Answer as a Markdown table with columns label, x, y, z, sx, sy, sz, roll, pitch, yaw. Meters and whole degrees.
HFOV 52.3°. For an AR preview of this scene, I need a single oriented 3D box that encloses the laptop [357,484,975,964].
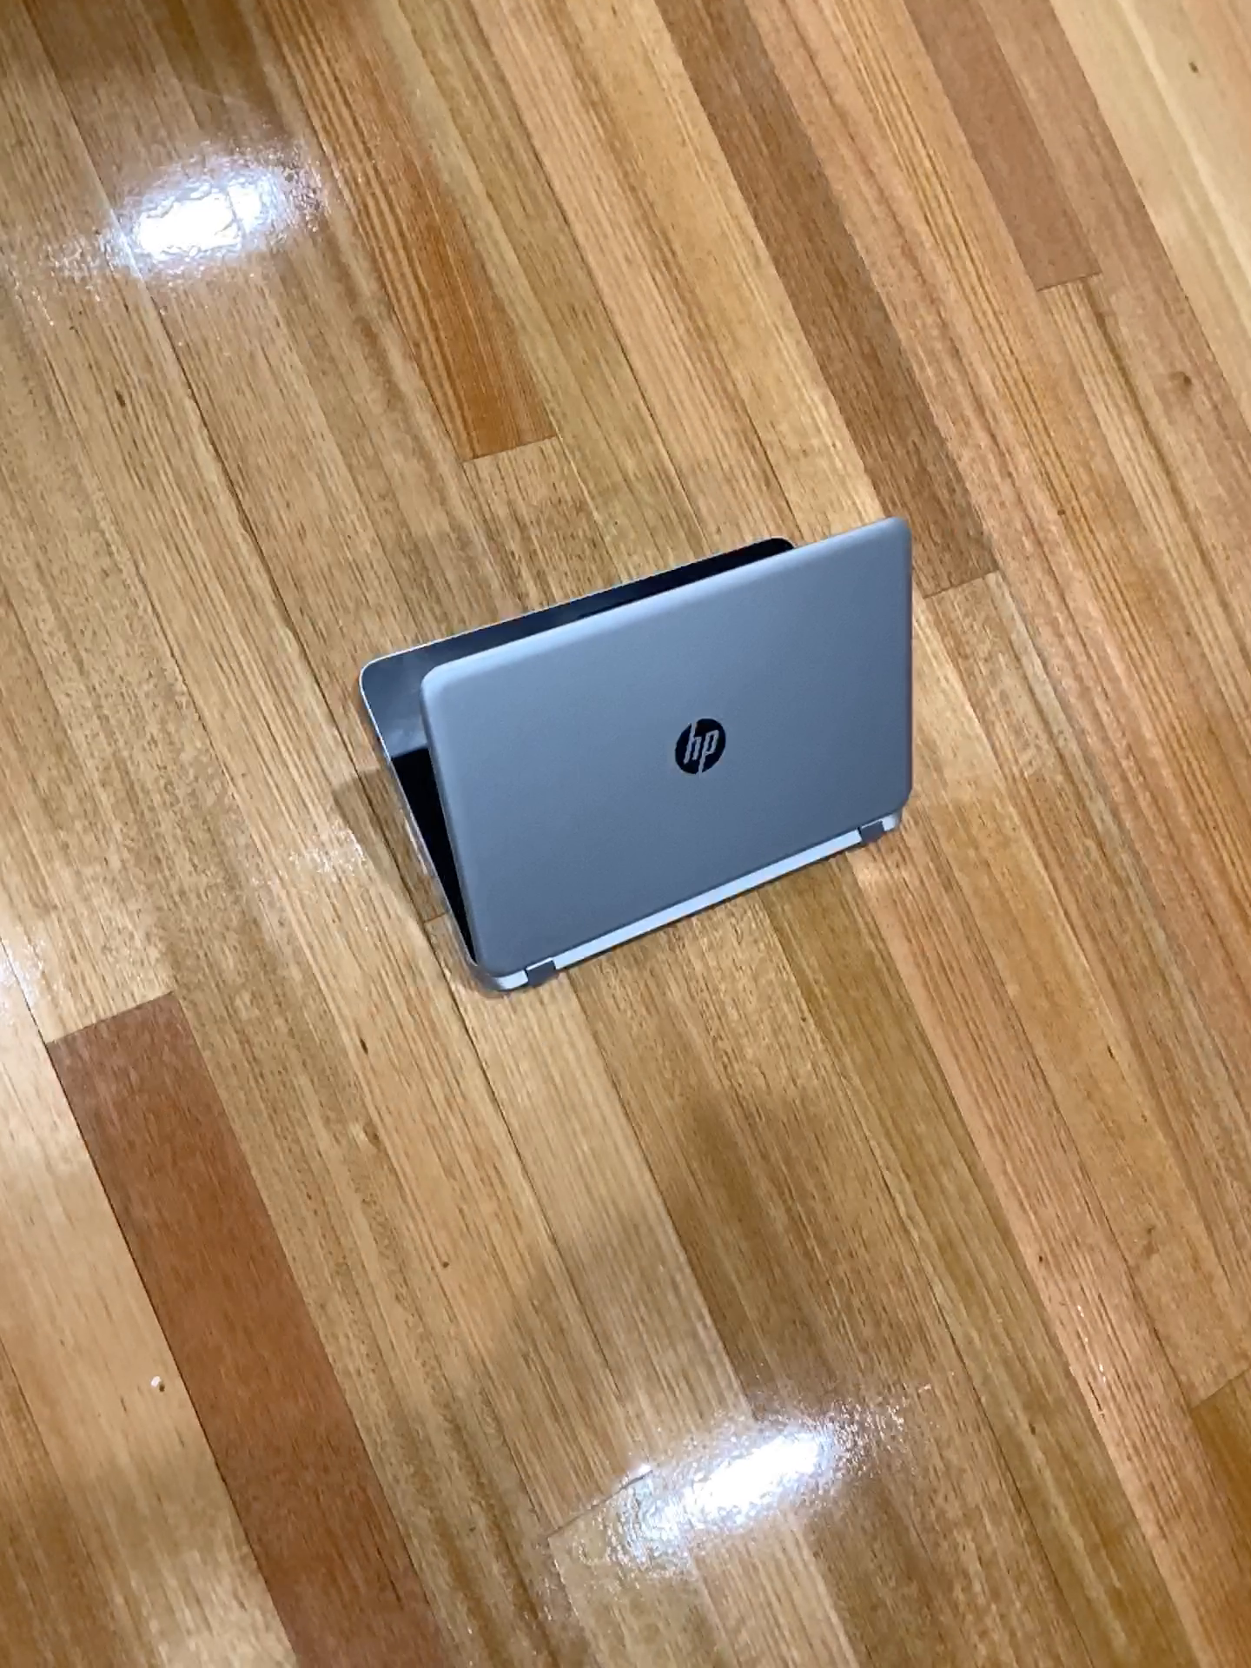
| label | x | y | z | sx | sy | sz | roll | pitch | yaw |
| --- | --- | --- | --- | --- | --- | --- | --- | --- | --- |
| laptop | 0.029 | -0.075 | 0.841 | 0.333 | 0.102 | 0.209 | -21 | 88 | -20 |
